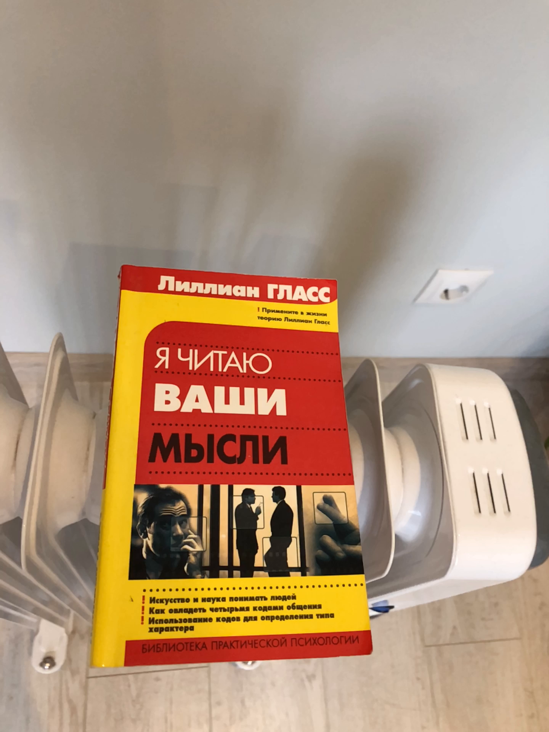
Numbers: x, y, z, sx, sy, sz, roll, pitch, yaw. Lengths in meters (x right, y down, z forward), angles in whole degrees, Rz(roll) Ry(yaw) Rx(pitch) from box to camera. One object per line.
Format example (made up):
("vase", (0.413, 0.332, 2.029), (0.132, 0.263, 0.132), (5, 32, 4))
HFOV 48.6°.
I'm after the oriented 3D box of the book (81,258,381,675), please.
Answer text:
("book", (-0.022, 0.040, 0.313), (0.128, 0.020, 0.207), (2, 63, -10))
